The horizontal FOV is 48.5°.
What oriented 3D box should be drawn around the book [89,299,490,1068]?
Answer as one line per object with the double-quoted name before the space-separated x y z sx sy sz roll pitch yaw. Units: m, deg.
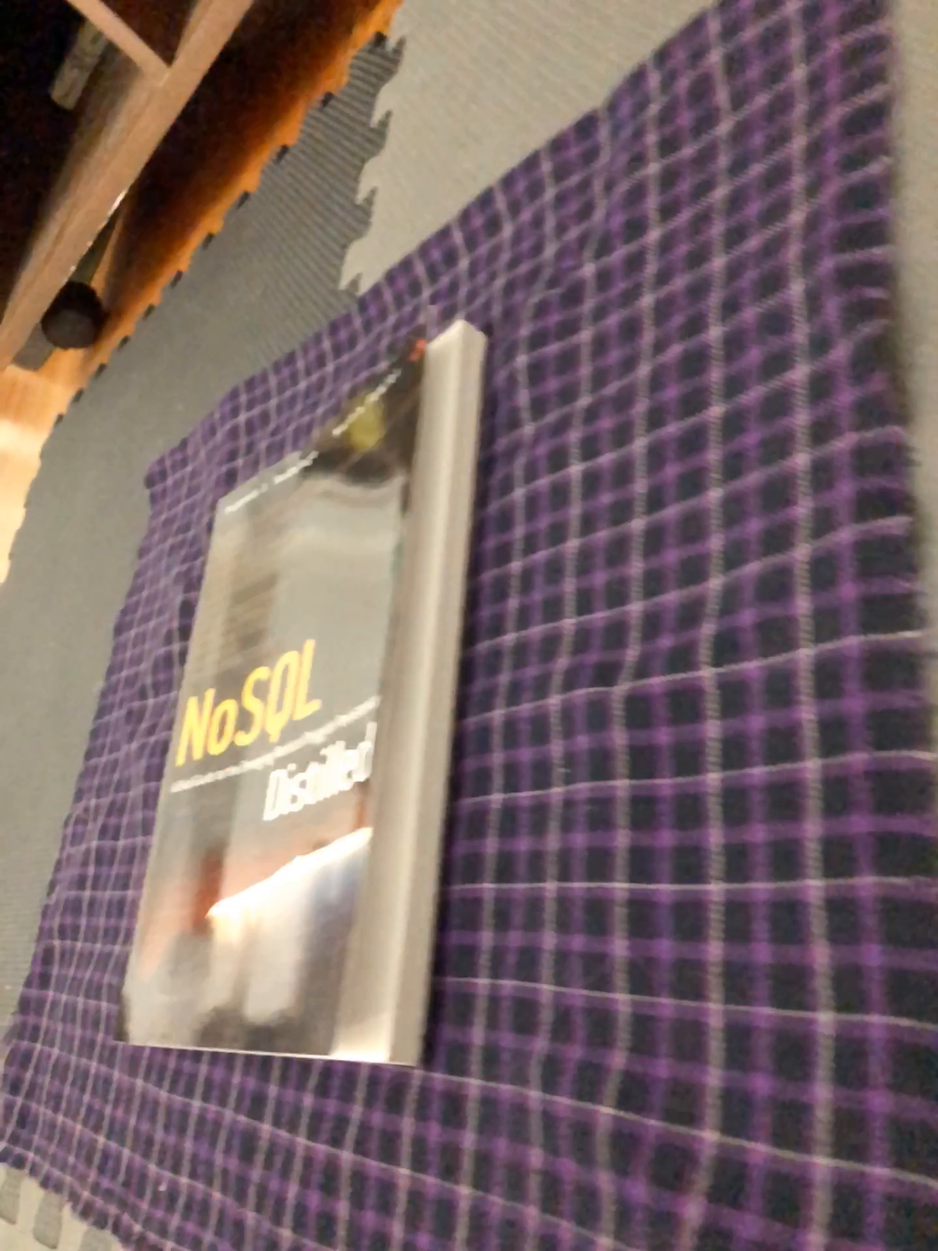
"book" -0.070 0.027 0.392 0.191 0.020 0.250 -24 52 47
